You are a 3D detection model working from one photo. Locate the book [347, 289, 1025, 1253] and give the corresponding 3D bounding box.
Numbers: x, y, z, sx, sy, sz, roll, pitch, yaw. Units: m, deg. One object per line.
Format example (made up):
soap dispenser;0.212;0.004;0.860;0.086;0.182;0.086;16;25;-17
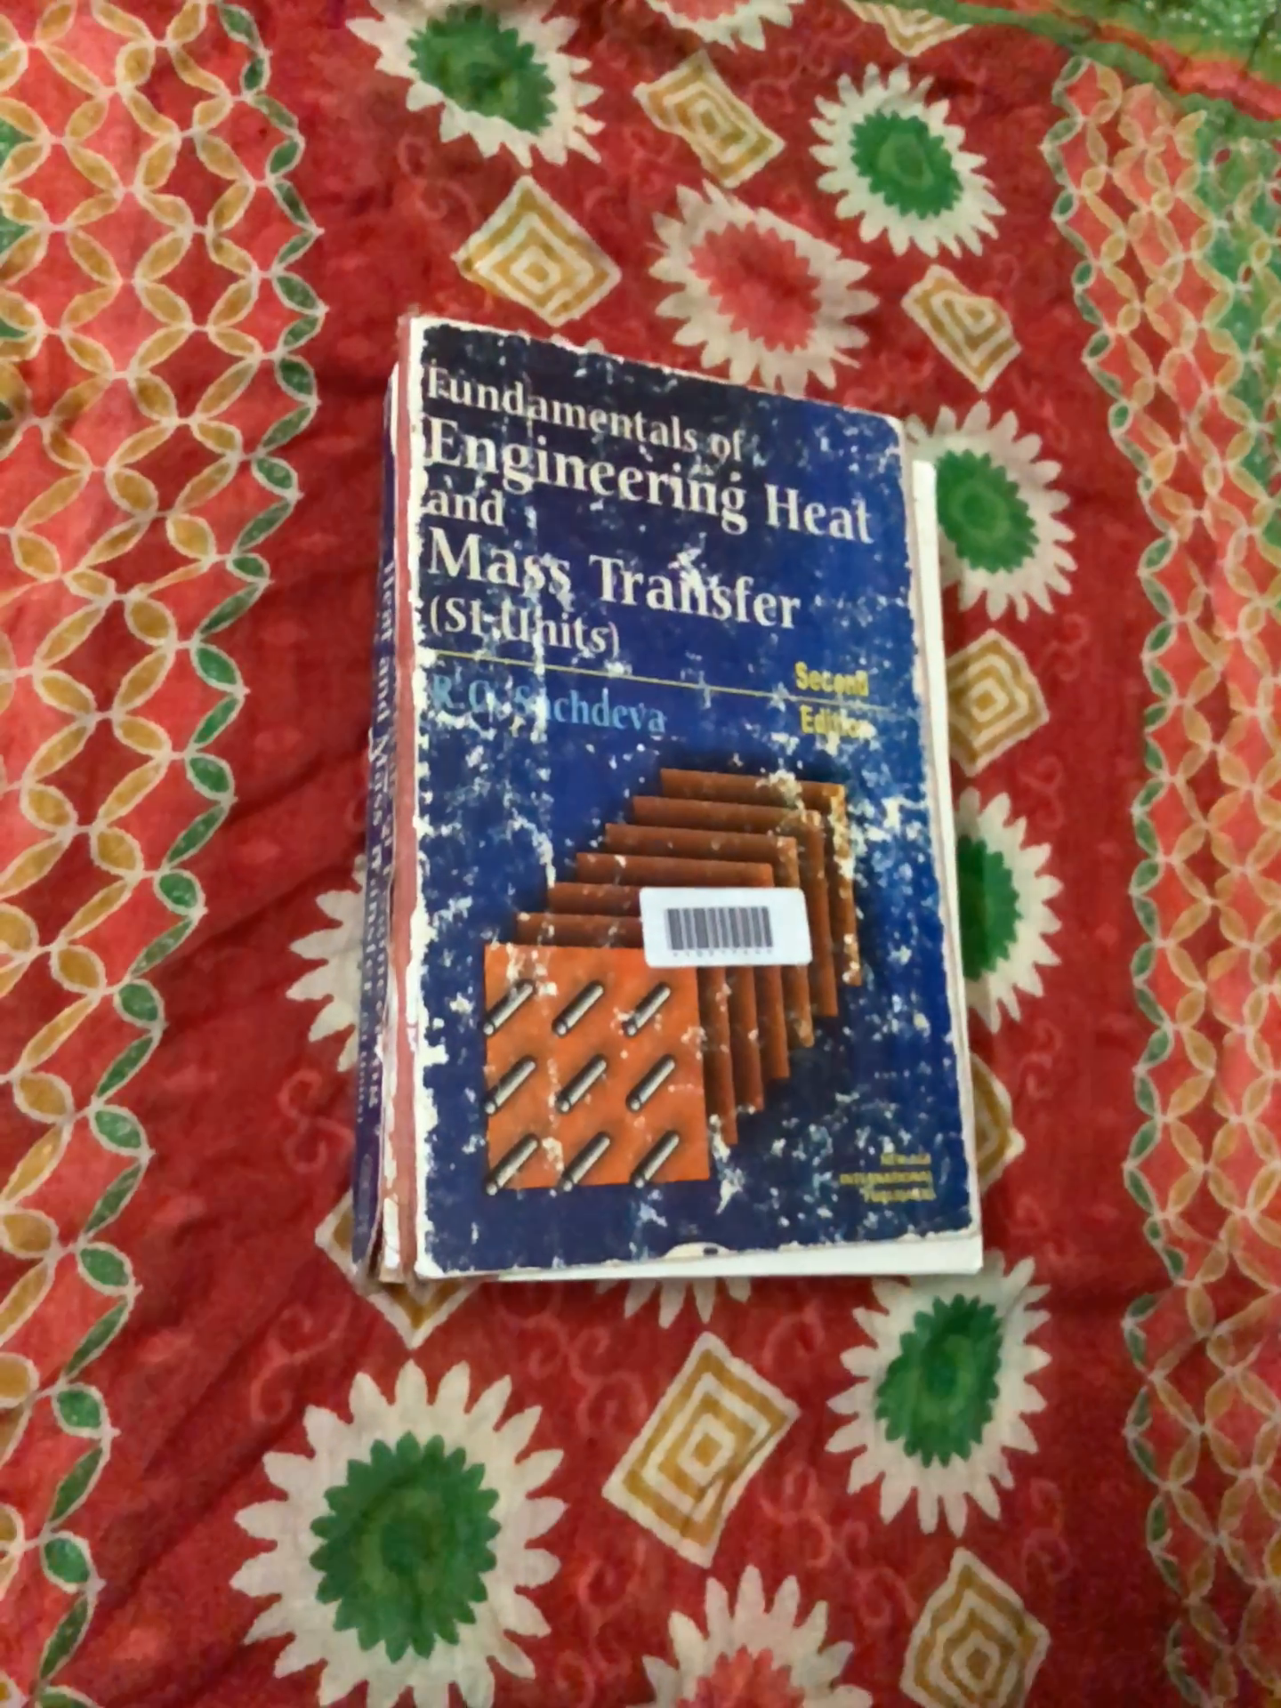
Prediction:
book;0.009;-0.017;0.348;0.150;0.043;0.209;2;78;-23
